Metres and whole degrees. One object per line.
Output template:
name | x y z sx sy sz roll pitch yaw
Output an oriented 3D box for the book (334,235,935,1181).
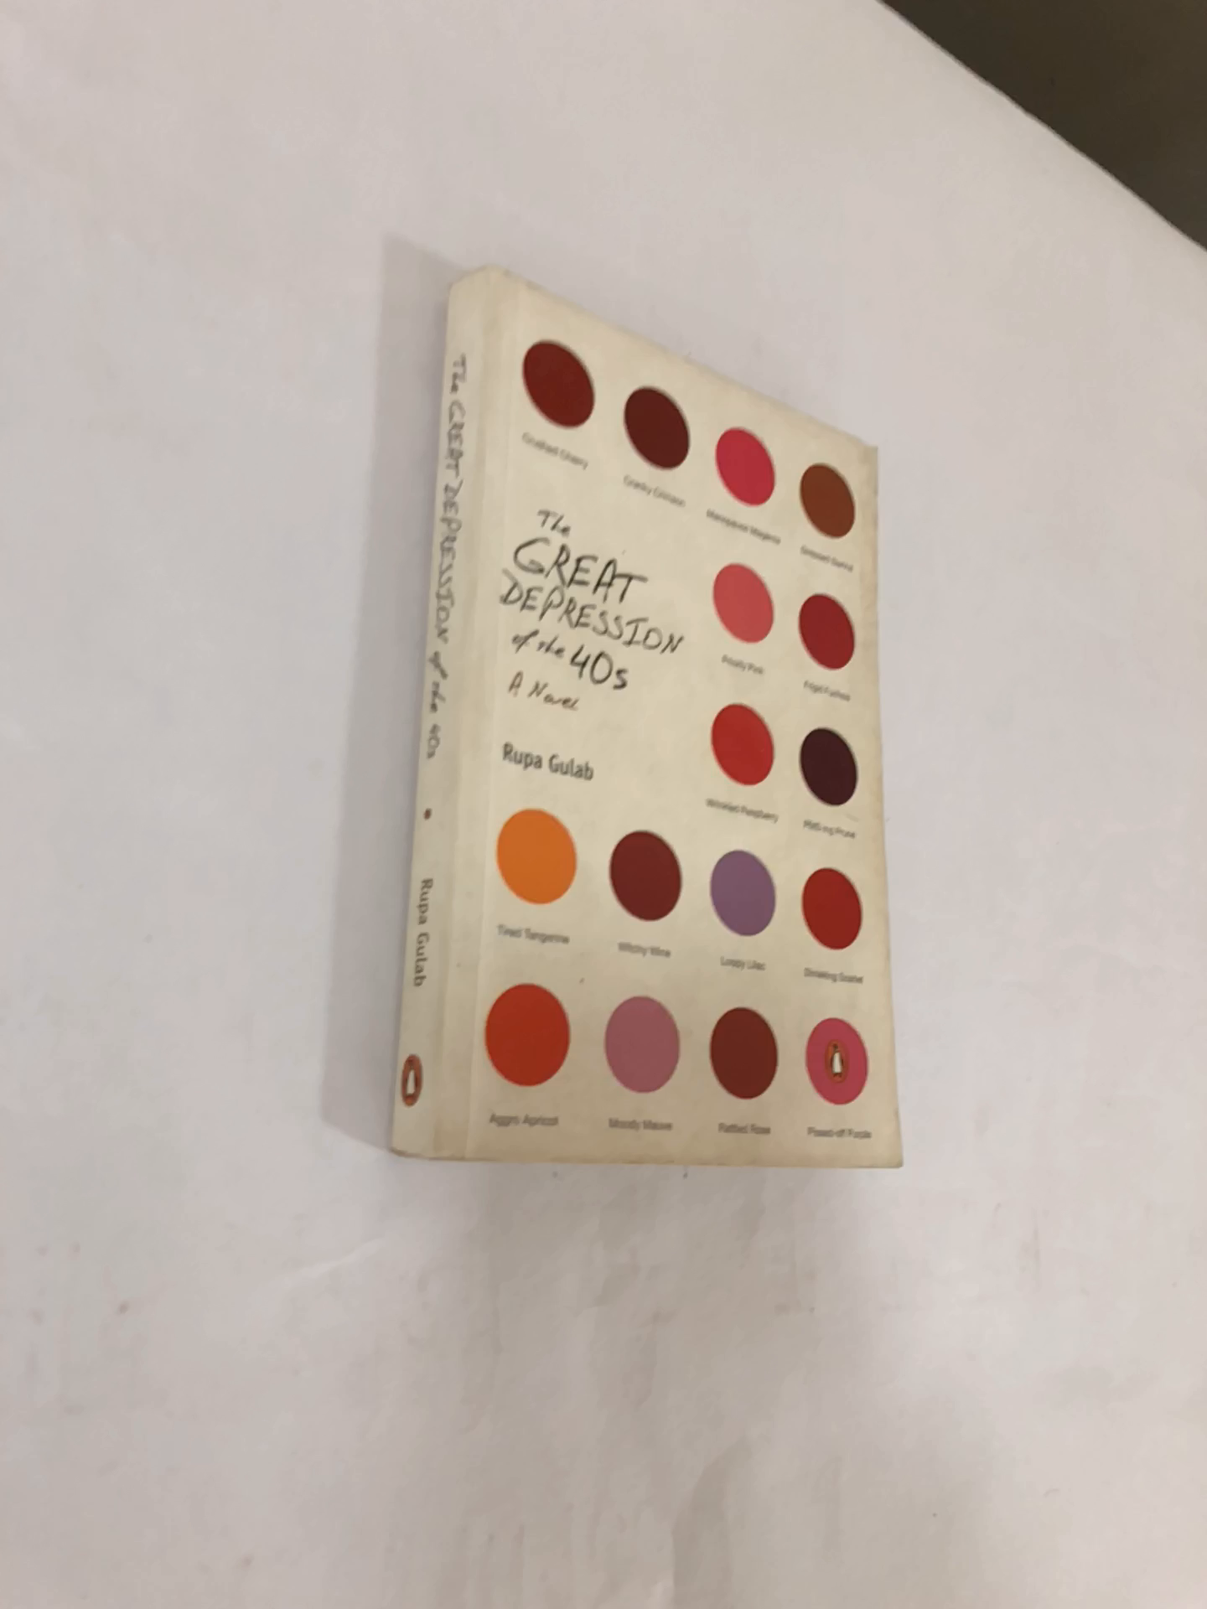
book | 0.015 -0.012 0.309 0.141 0.030 0.190 12 72 -36
